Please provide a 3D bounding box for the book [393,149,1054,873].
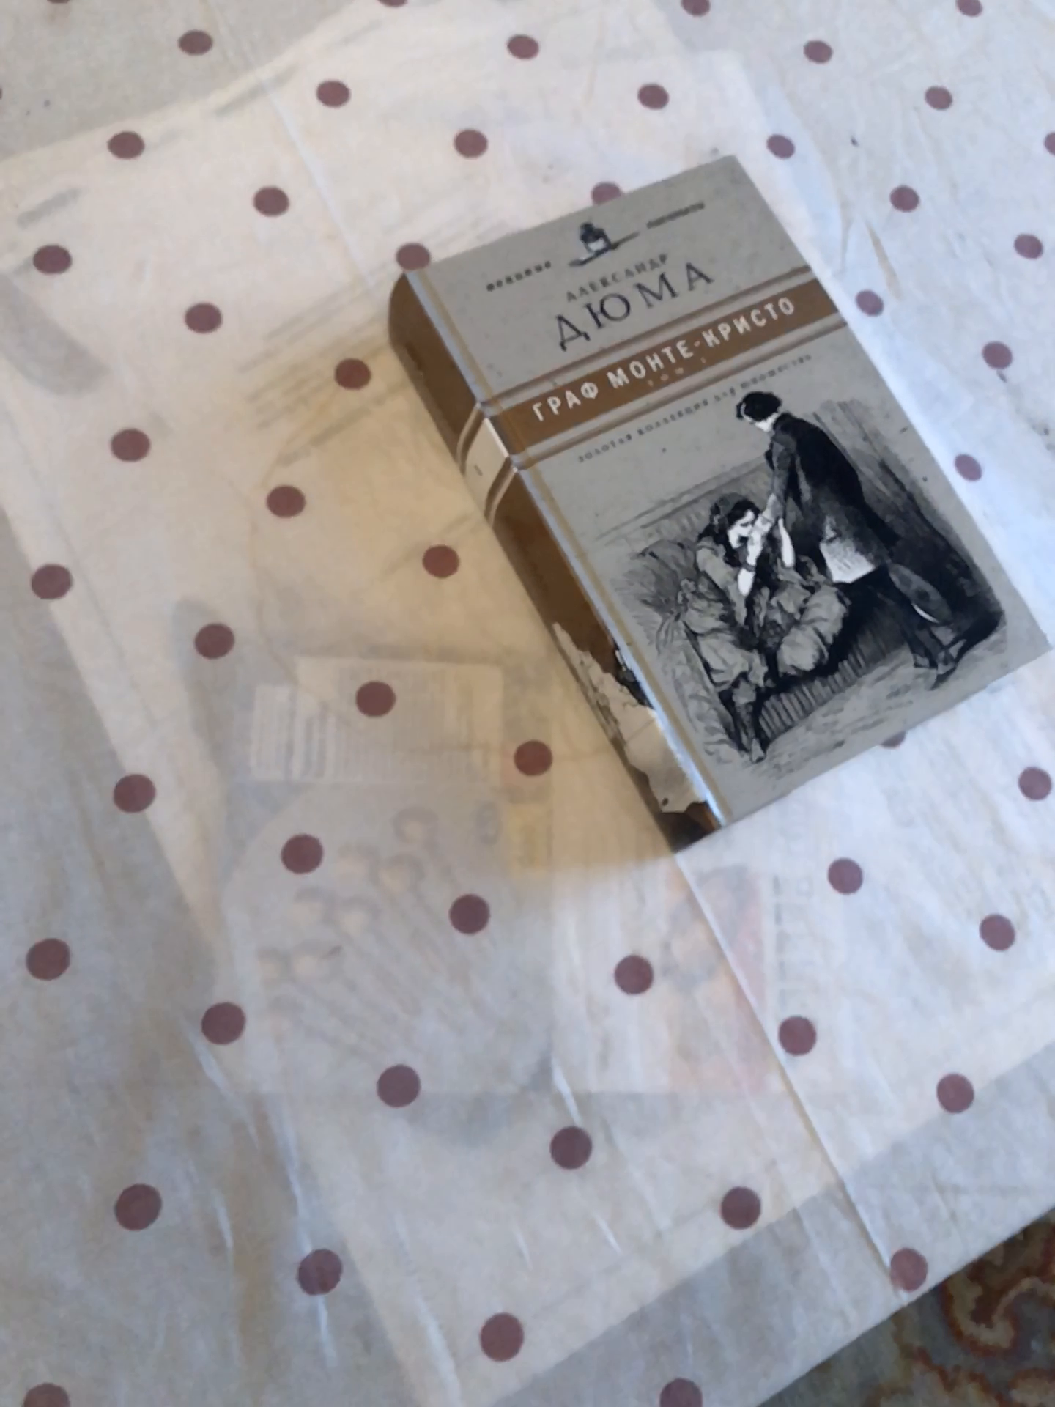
[{"bbox_3d":[0.063,-0.070,0.392,0.135,0.040,0.208,-26,79,-15],"label":"book"}]
